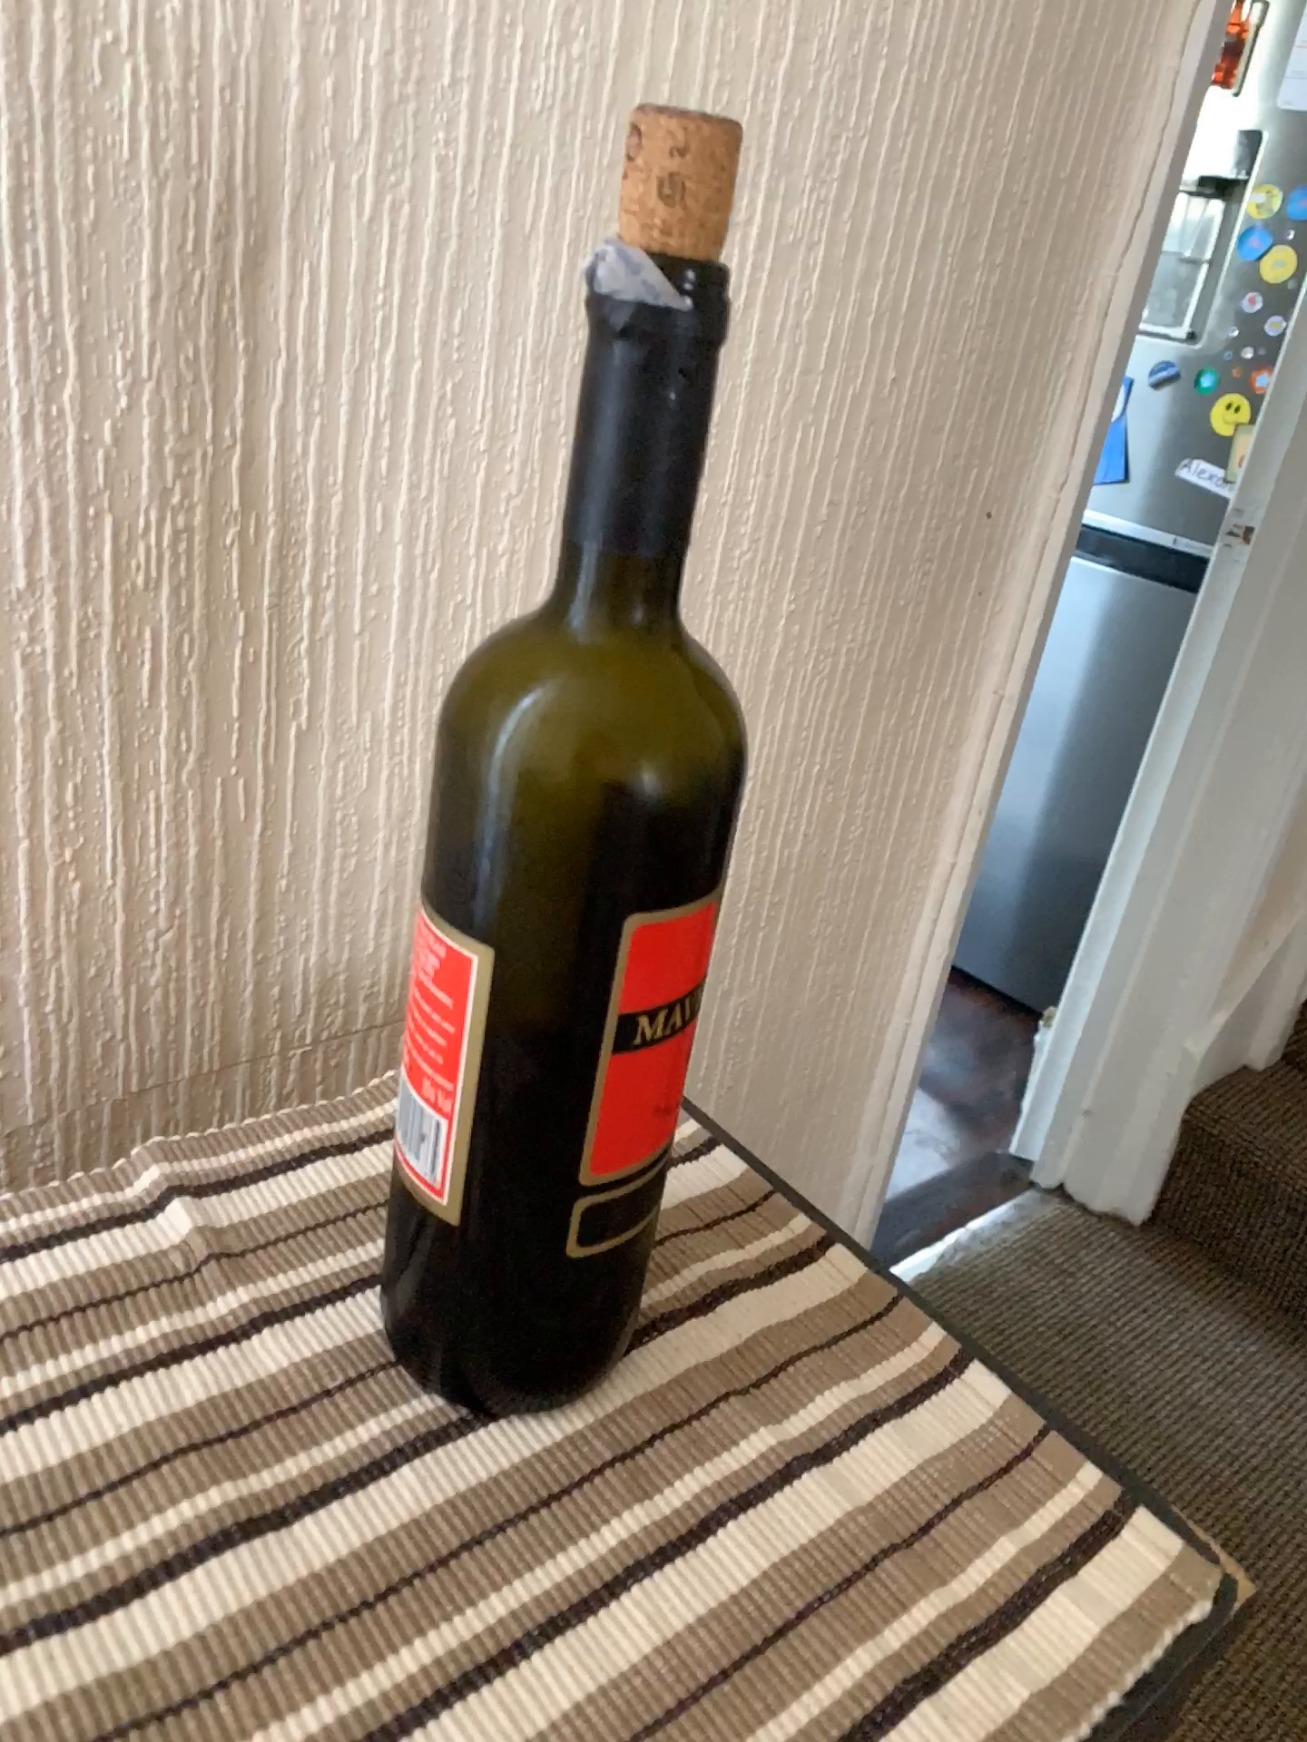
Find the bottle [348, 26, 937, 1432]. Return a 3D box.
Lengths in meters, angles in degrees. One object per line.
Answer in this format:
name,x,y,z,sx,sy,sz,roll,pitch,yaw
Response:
bottle,-0.018,-0.013,0.332,0.080,0.317,0.081,9,24,-4
